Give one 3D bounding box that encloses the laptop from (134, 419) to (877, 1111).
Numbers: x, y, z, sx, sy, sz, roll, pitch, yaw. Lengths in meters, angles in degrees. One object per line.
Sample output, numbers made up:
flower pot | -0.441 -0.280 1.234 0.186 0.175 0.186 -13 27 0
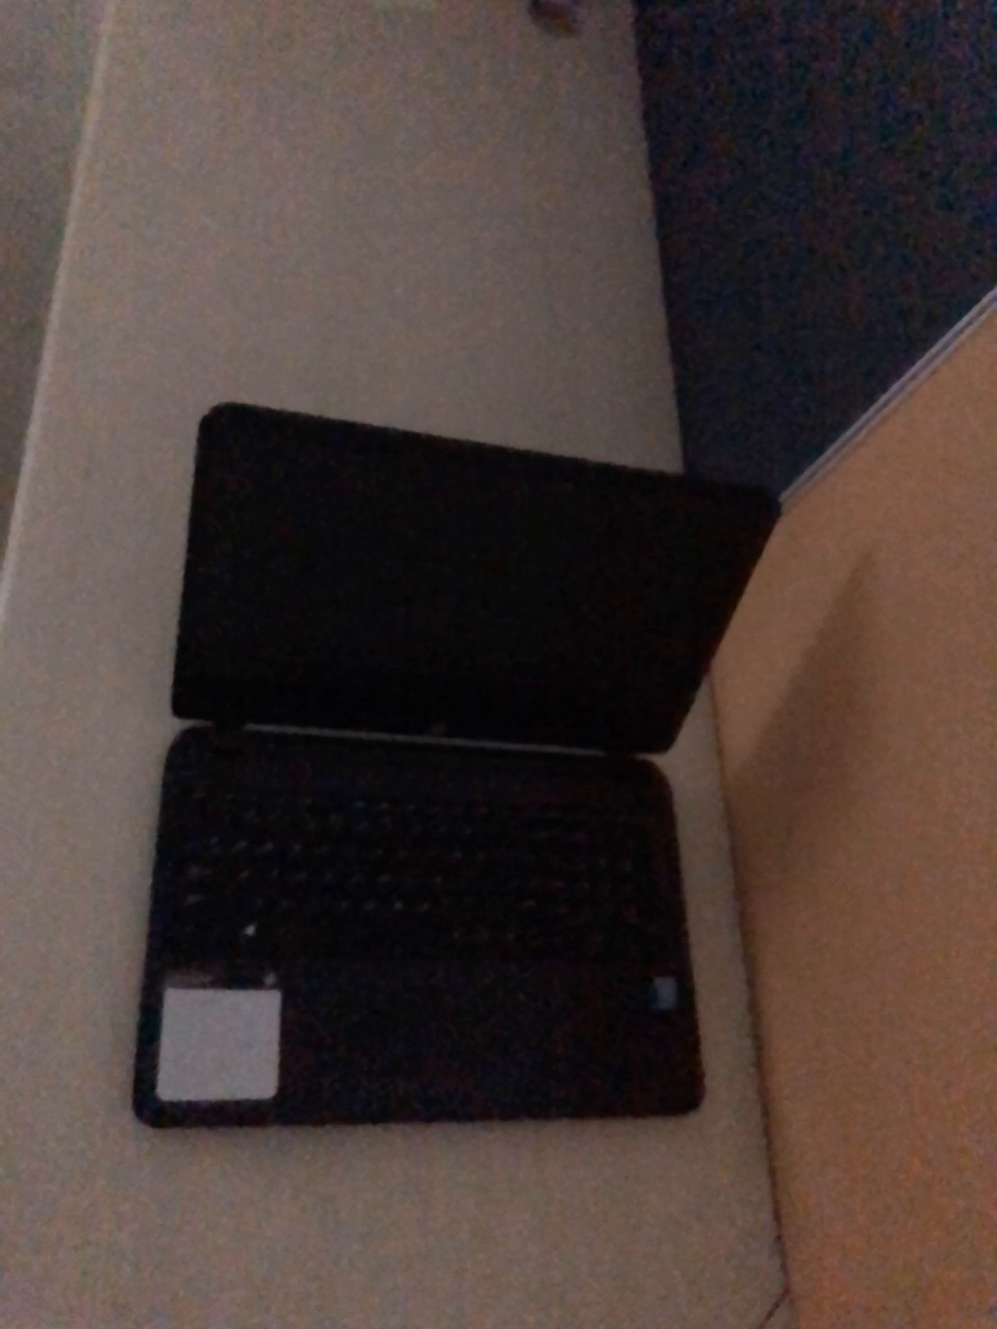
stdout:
laptop | -0.015 0.079 0.683 0.356 0.206 0.352 6 63 -16
